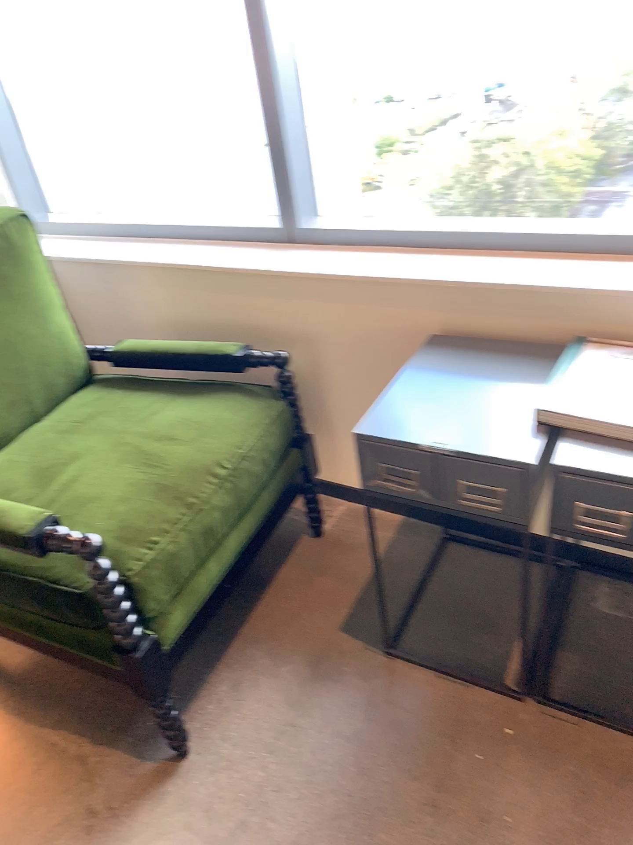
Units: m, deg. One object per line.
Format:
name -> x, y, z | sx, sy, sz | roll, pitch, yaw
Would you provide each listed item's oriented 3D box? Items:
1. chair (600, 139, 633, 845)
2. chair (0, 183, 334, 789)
chair -> 1.008, 0.345, 0.632 | 0.941, 0.923, 0.876 | -24, 35, -23
chair -> -0.593, 0.047, 1.516 | 0.912, 0.923, 0.844 | 7, 35, 24
